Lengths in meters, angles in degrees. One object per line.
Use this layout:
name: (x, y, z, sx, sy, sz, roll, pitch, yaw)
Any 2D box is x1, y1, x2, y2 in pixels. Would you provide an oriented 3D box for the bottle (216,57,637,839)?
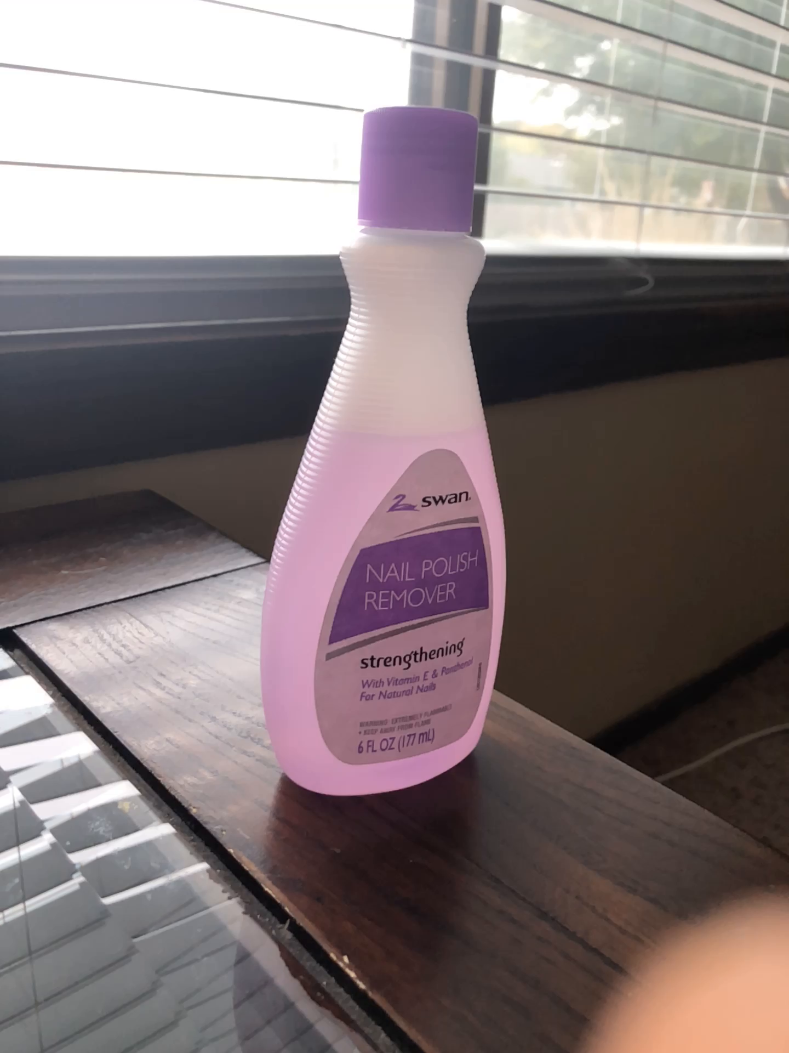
bottle: (0.003, -0.017, 0.226, 0.080, 0.170, 0.050, -8, 22, -29)
